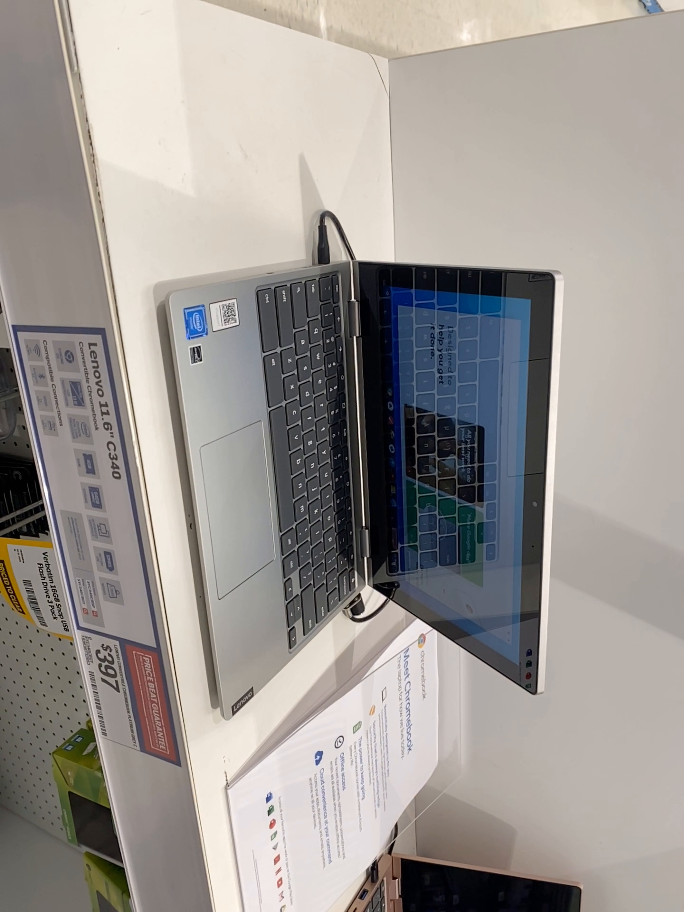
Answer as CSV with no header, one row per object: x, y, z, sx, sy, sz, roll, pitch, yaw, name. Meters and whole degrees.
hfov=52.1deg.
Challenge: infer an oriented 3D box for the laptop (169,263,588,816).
0.041,0.027,0.473,0.201,0.180,0.284,-31,123,-53,laptop
